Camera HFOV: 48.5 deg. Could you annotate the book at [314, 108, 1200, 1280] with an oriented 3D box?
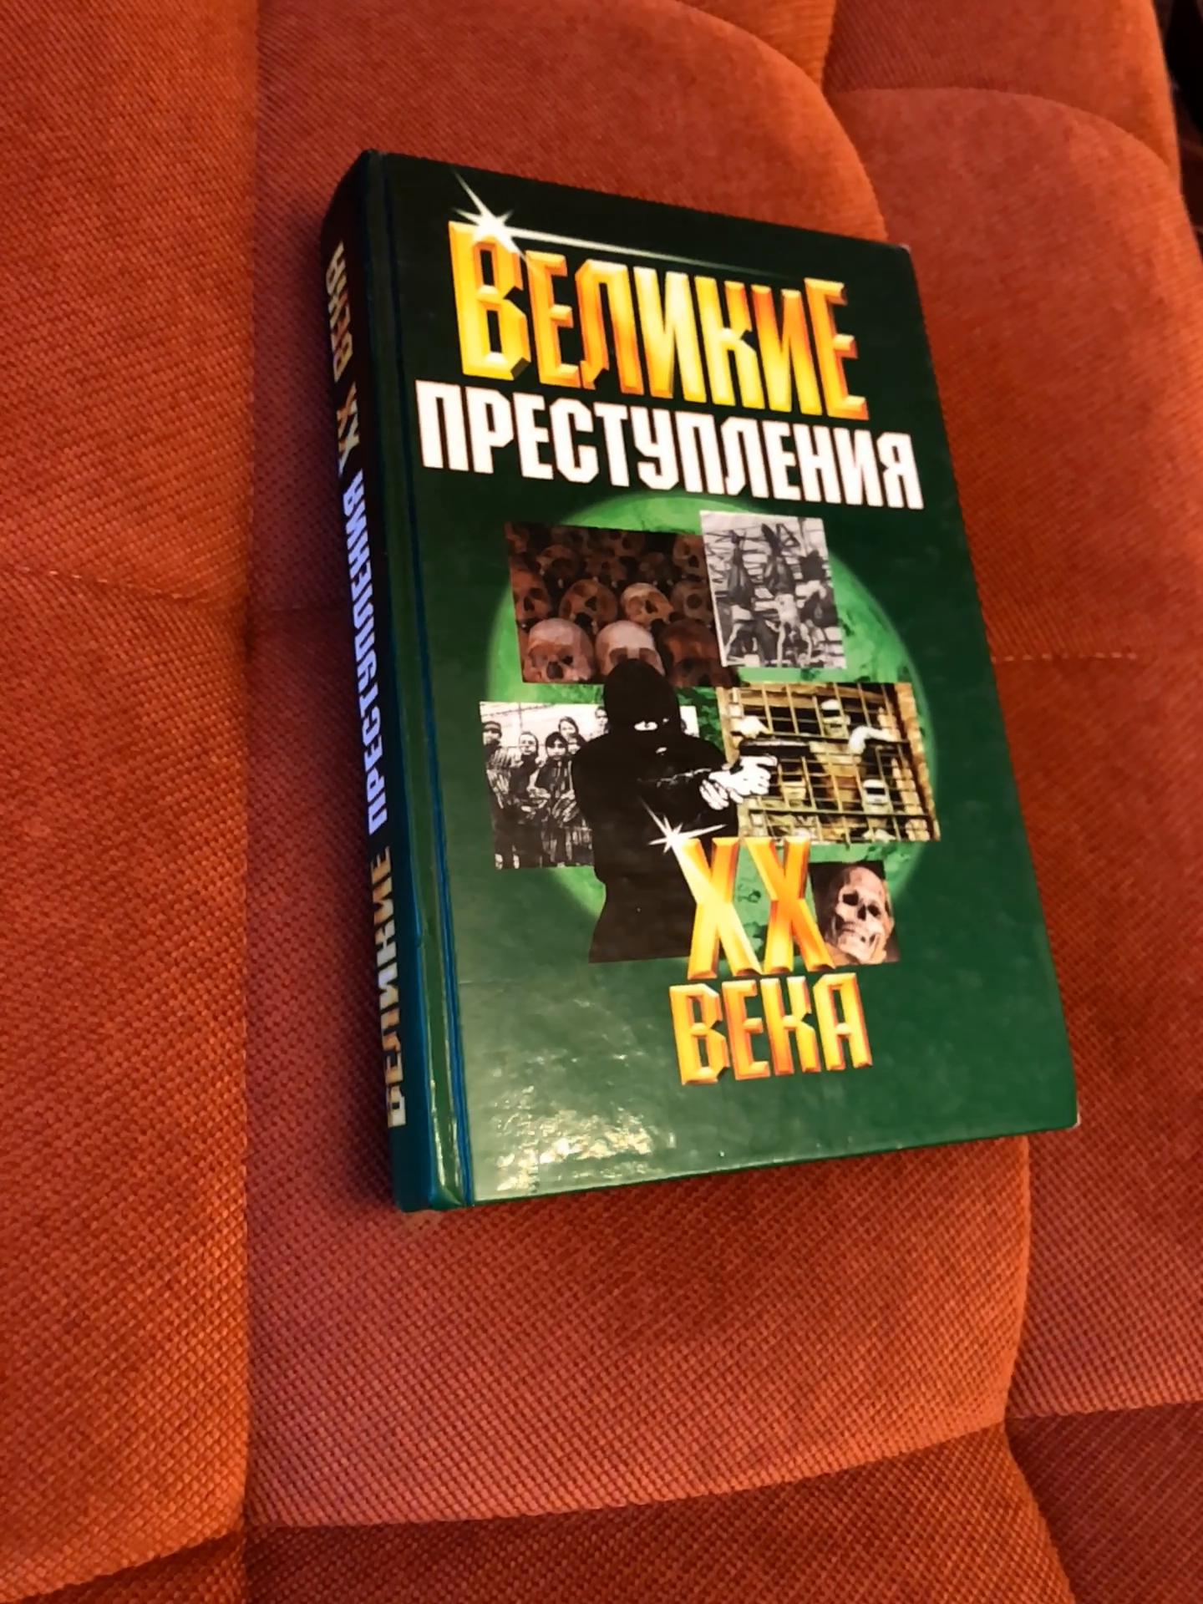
[{"bbox_3d":[0.027,-0.029,0.292,0.160,0.040,0.230,-1,73,-21],"label":"book"}]
